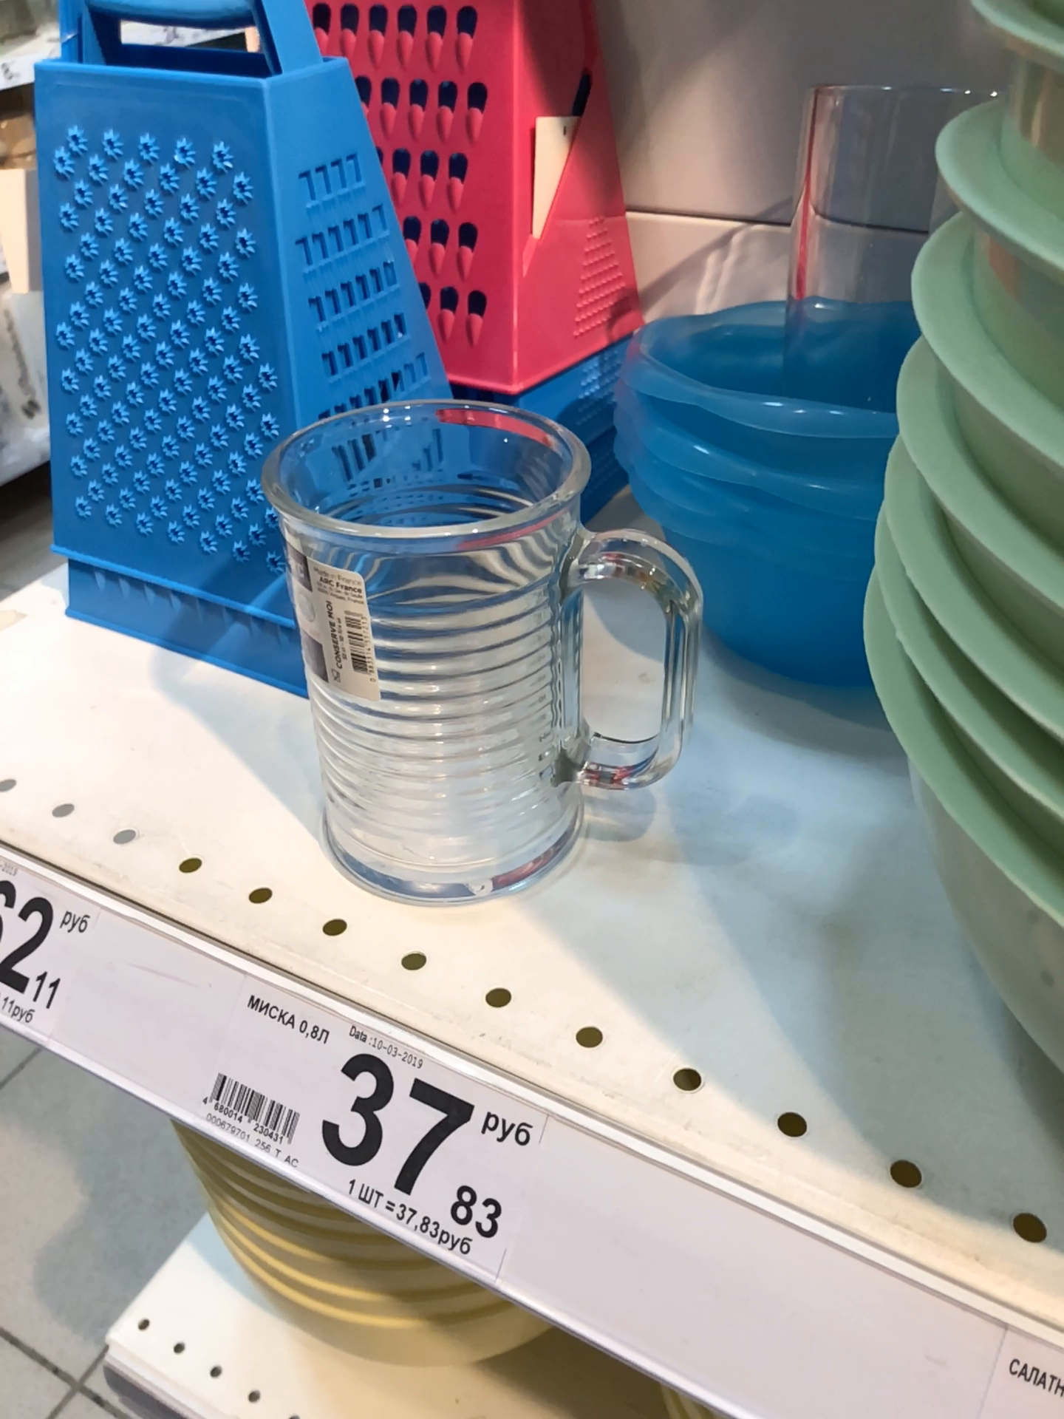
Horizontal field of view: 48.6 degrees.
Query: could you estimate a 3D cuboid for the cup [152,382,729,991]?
[{"bbox_3d":[-0.016,-0.011,0.300,0.102,0.104,0.087,15,41,24],"label":"cup"}]
